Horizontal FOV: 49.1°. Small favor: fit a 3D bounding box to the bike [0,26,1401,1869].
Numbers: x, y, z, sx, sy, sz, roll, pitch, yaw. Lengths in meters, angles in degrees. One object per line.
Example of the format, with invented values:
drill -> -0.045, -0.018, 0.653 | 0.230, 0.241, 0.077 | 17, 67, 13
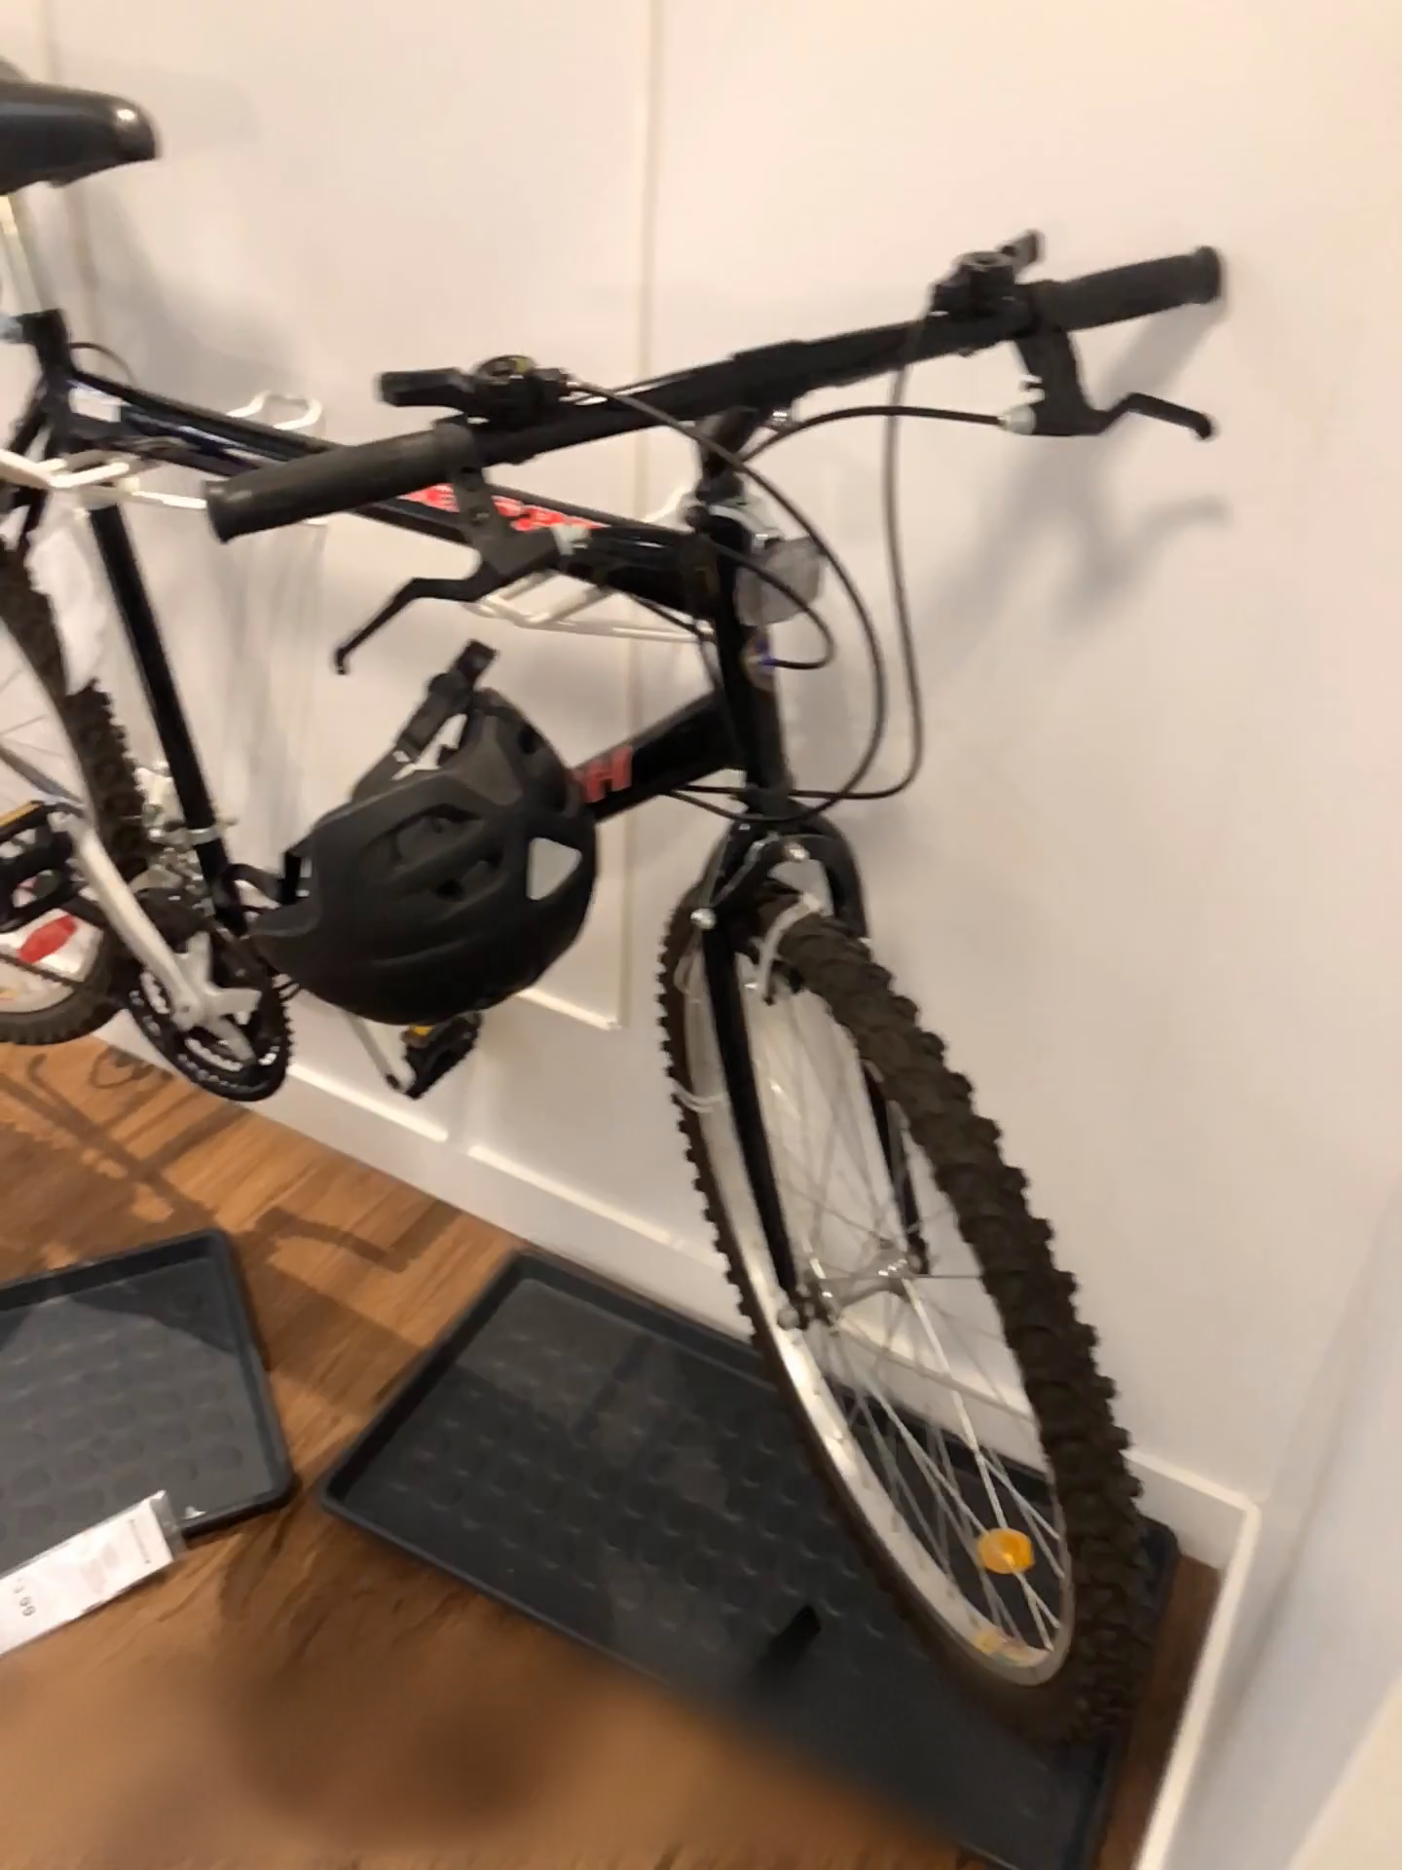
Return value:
bike -> -0.361, -0.031, 1.211 | 1.571, 0.845, 0.559 | 29, 41, 24
